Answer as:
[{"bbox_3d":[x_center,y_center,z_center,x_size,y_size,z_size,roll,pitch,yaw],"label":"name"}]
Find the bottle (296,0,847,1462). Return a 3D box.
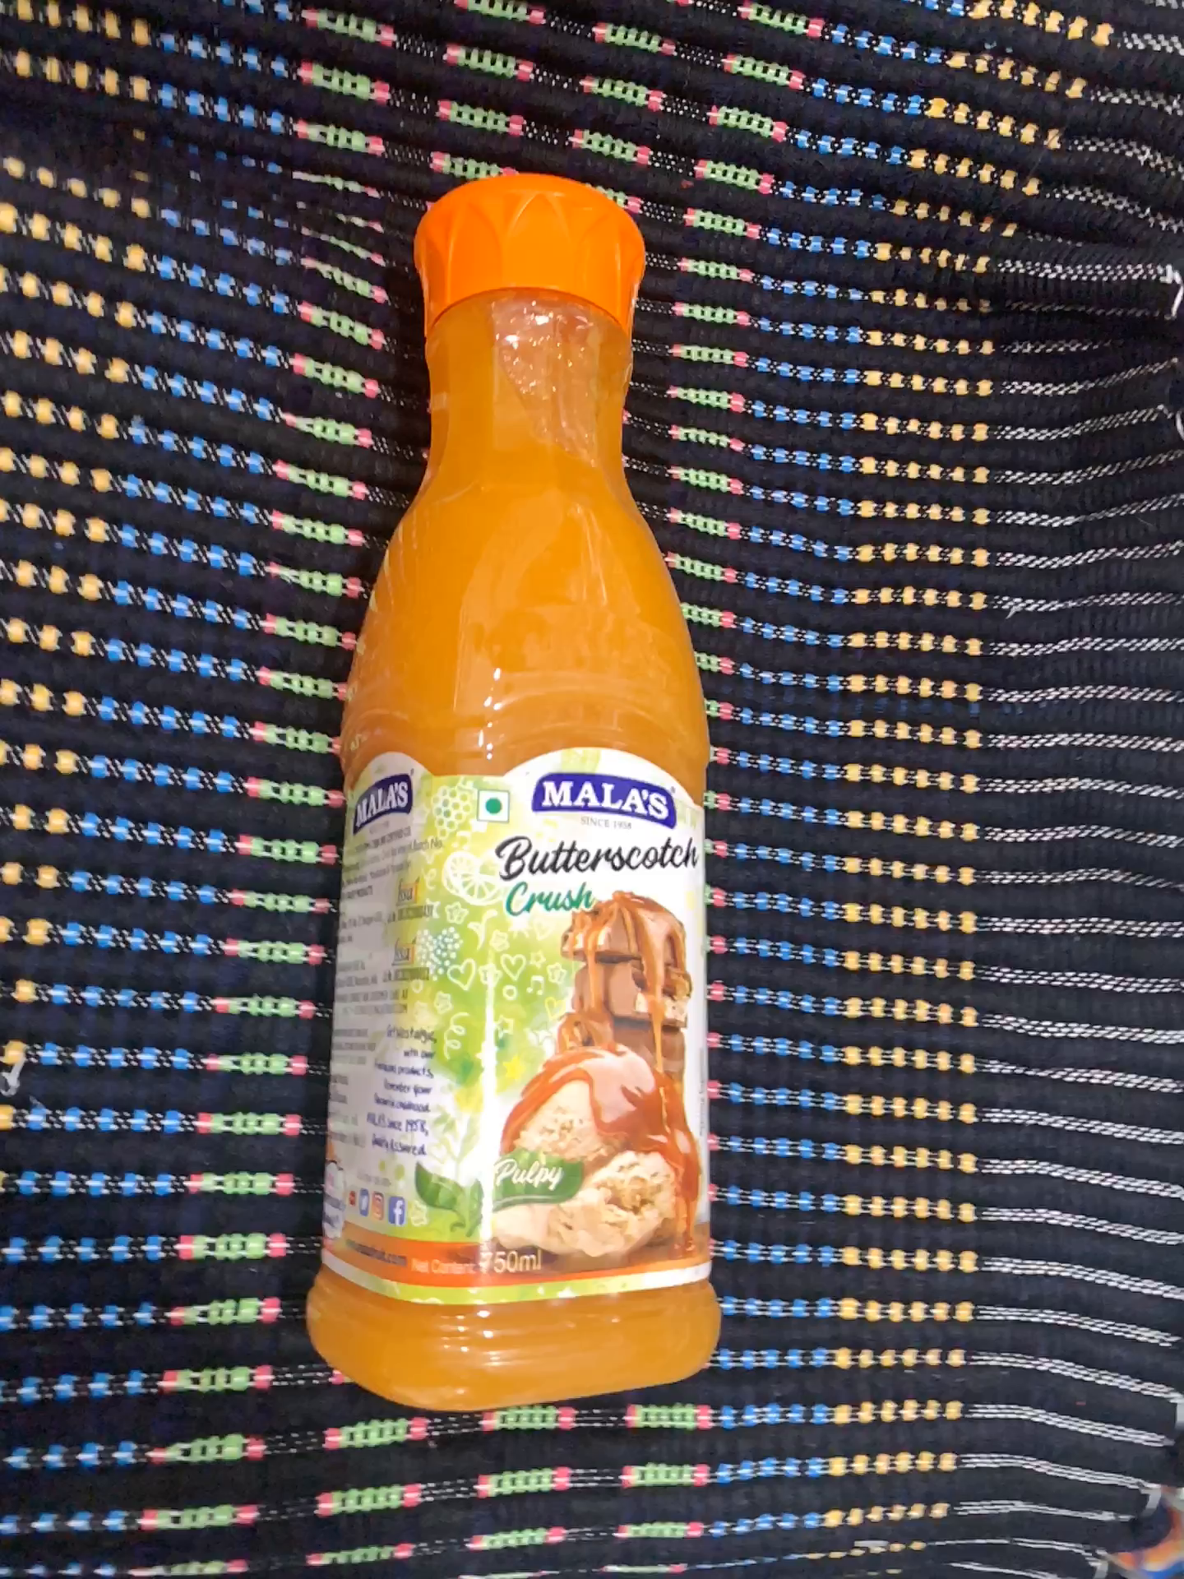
[{"bbox_3d":[-0.009,-0.021,0.235,0.070,0.060,0.250,7,71,-27],"label":"bottle"}]
